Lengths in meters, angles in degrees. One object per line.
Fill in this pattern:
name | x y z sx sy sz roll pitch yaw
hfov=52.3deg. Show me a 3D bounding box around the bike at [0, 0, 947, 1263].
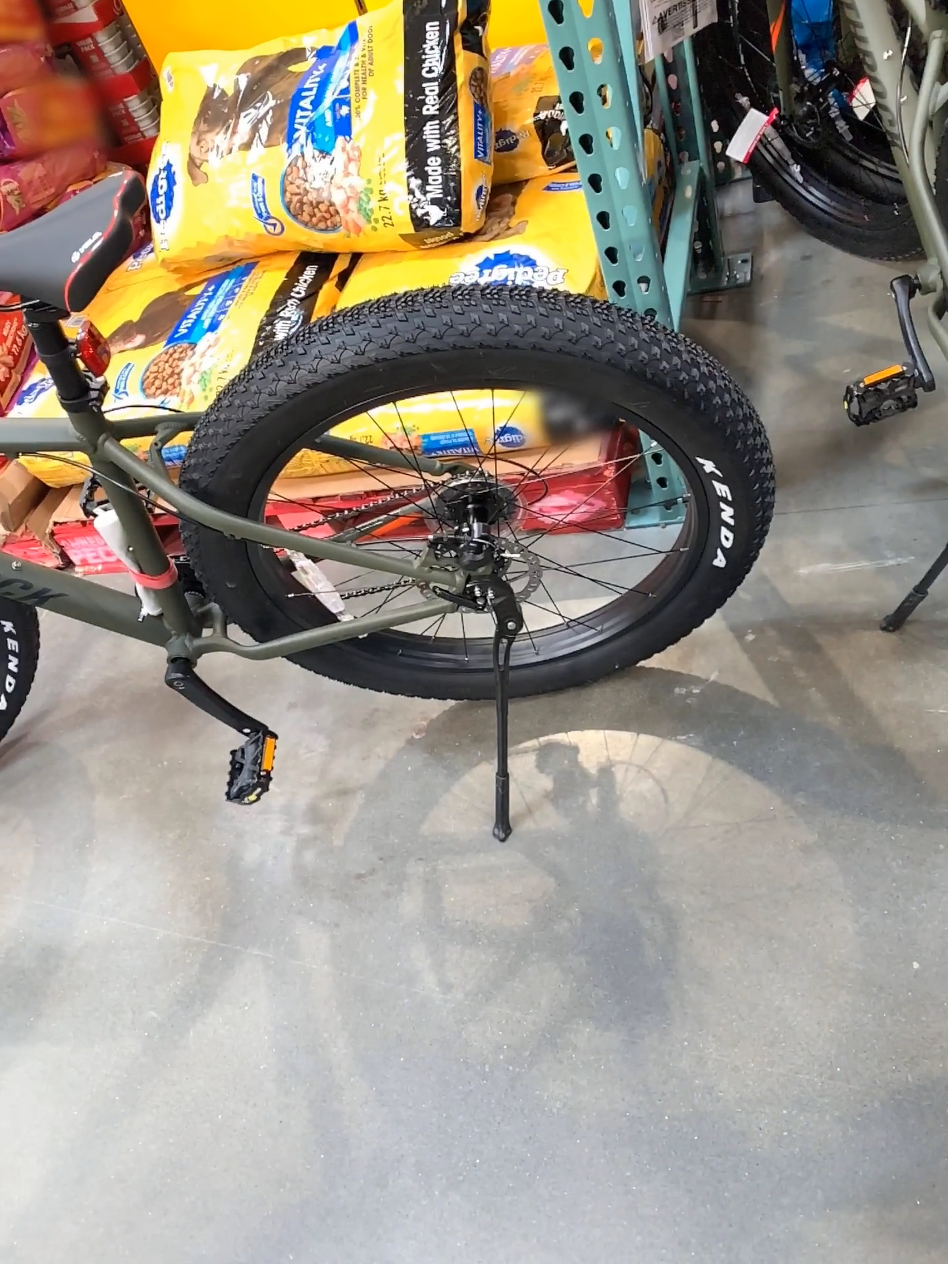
bike | -0.398 -0.011 0.910 1.712 1.203 0.594 -20 43 -6
